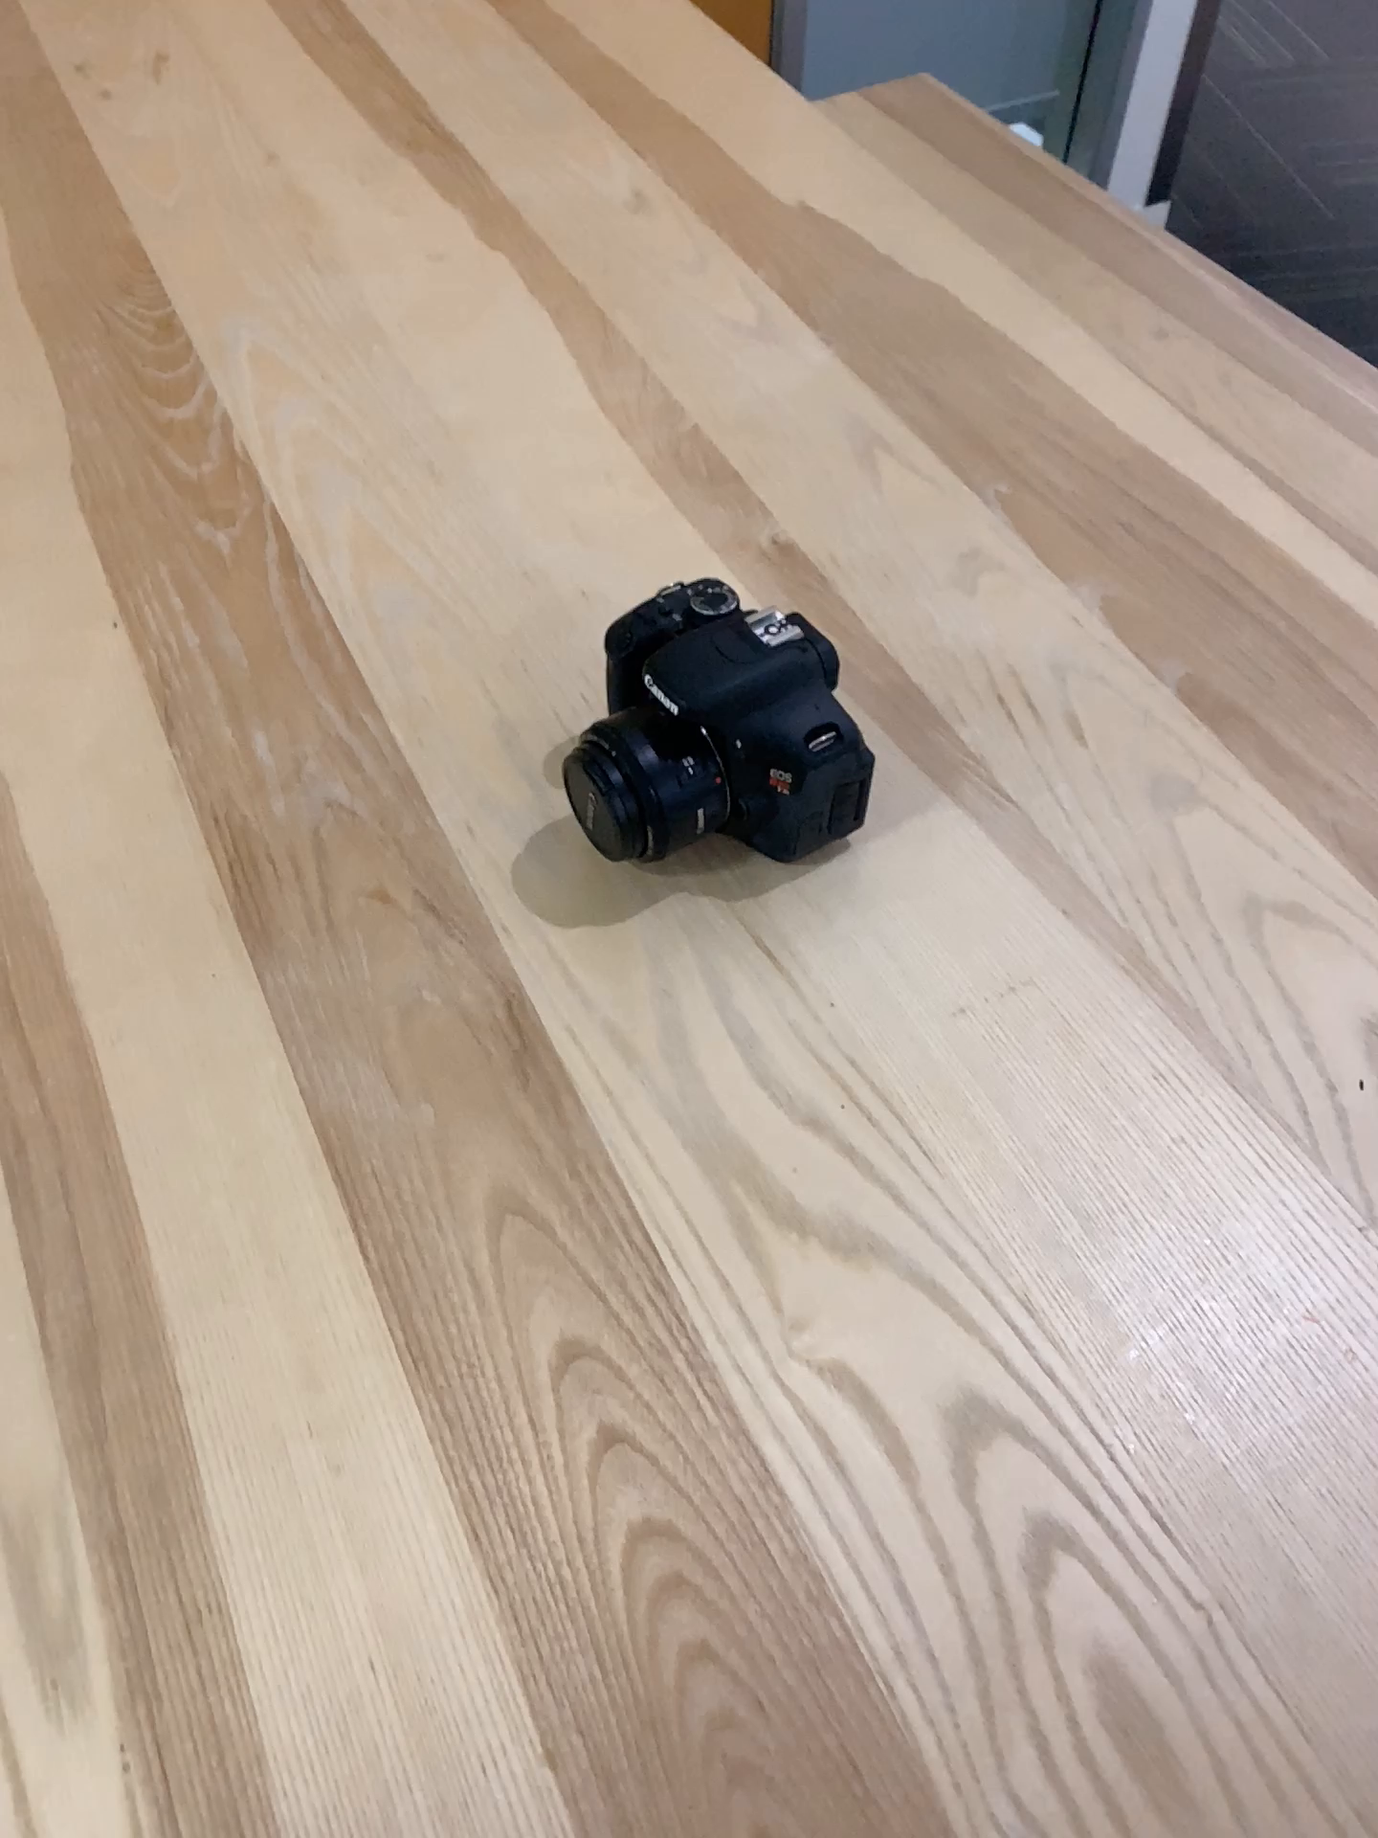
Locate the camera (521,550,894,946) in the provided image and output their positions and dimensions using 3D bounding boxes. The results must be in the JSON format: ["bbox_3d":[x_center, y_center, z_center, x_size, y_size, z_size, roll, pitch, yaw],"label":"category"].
[{"bbox_3d":[0.003,-0.082,0.655,0.114,0.101,0.120,-25,57,-27],"label":"camera"}]
